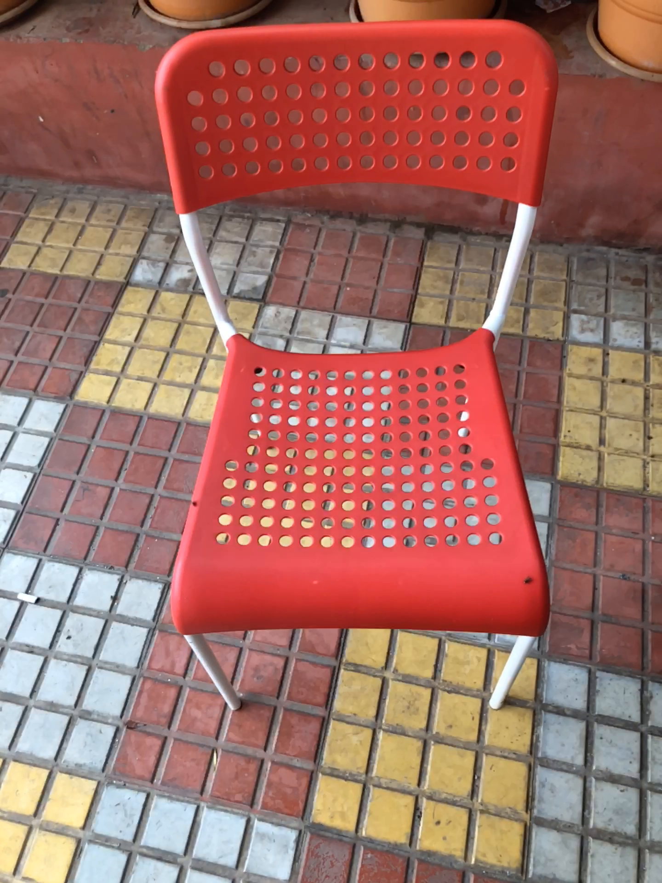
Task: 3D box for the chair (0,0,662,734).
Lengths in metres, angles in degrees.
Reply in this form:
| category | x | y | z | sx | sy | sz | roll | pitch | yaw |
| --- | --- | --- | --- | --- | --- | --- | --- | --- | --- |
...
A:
| category | x | y | z | sx | sy | sz | roll | pitch | yaw |
| --- | --- | --- | --- | --- | --- | --- | --- | --- | --- |
| chair | 0.010 | -0.008 | 0.829 | 0.450 | 0.697 | 0.542 | 0 | 61 | 2 |
